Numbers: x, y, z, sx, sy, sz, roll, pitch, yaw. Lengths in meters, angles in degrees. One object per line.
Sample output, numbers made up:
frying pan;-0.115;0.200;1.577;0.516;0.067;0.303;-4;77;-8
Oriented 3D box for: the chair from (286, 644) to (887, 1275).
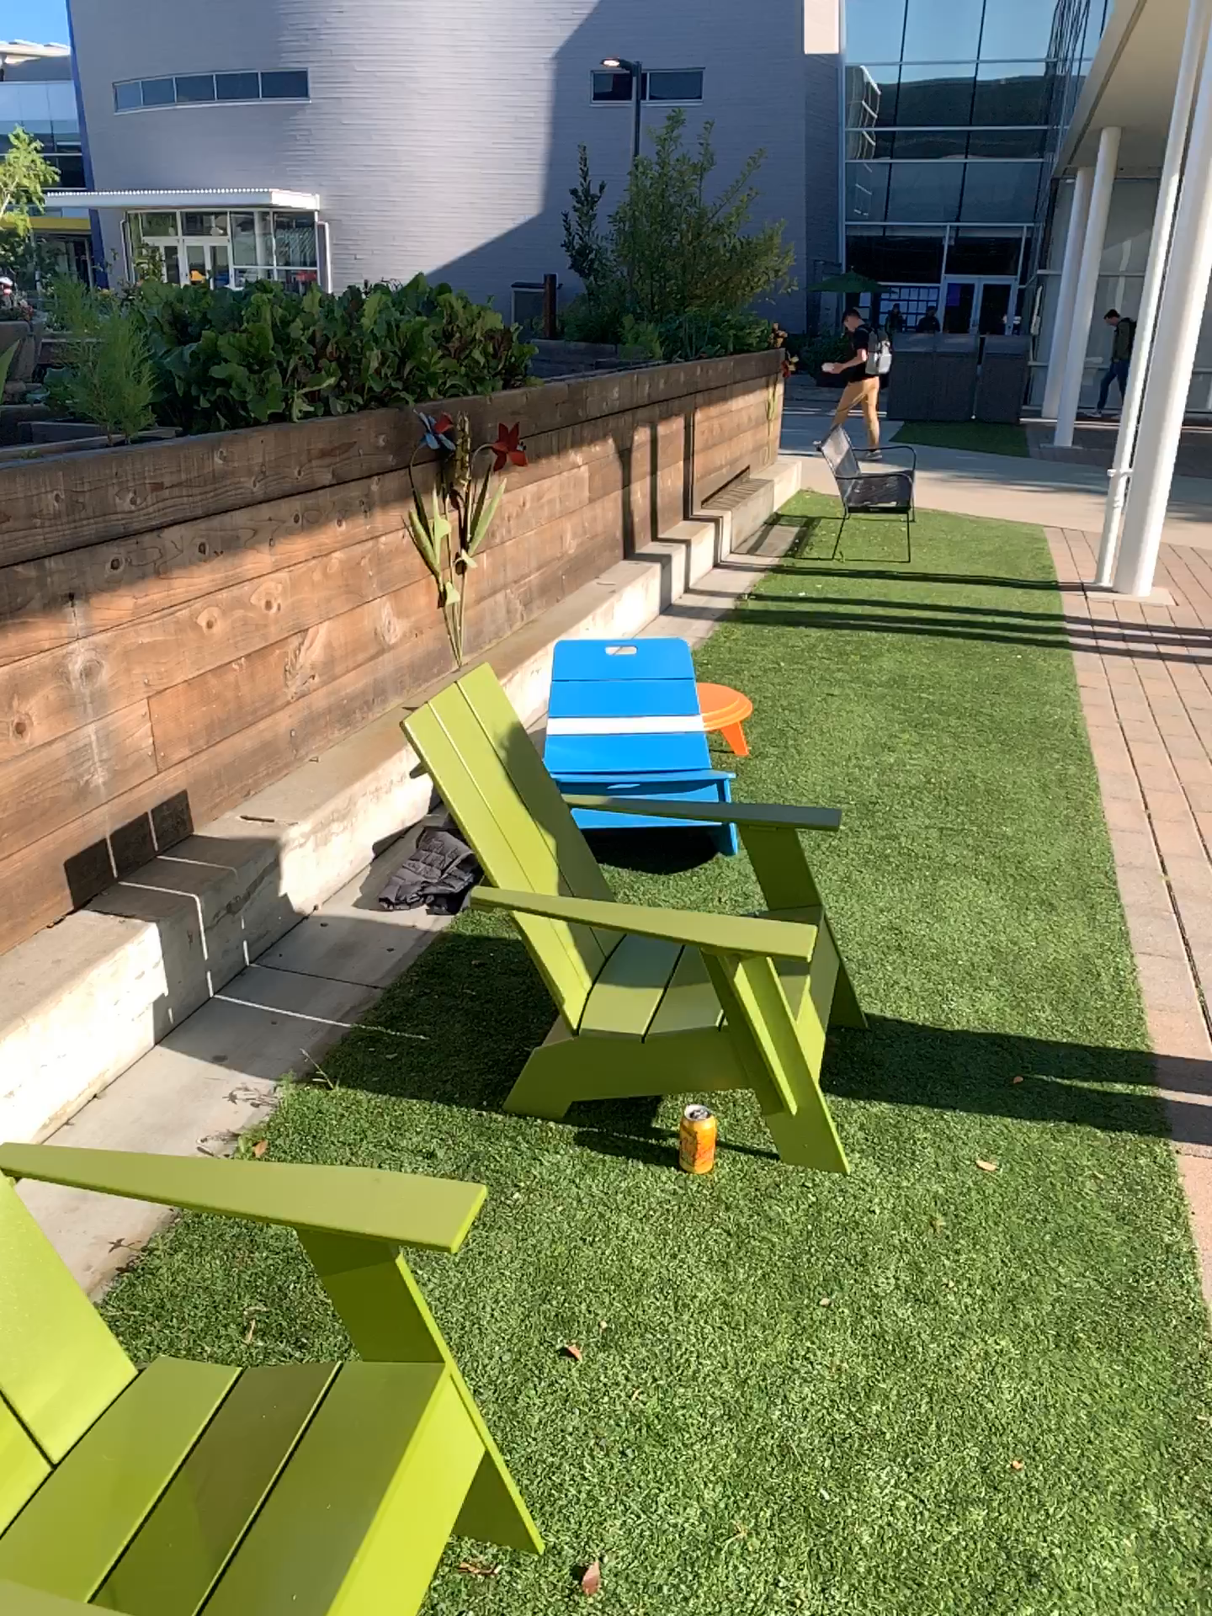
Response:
chair;0.009;0.235;2.643;1.001;0.896;0.853;8;22;15
